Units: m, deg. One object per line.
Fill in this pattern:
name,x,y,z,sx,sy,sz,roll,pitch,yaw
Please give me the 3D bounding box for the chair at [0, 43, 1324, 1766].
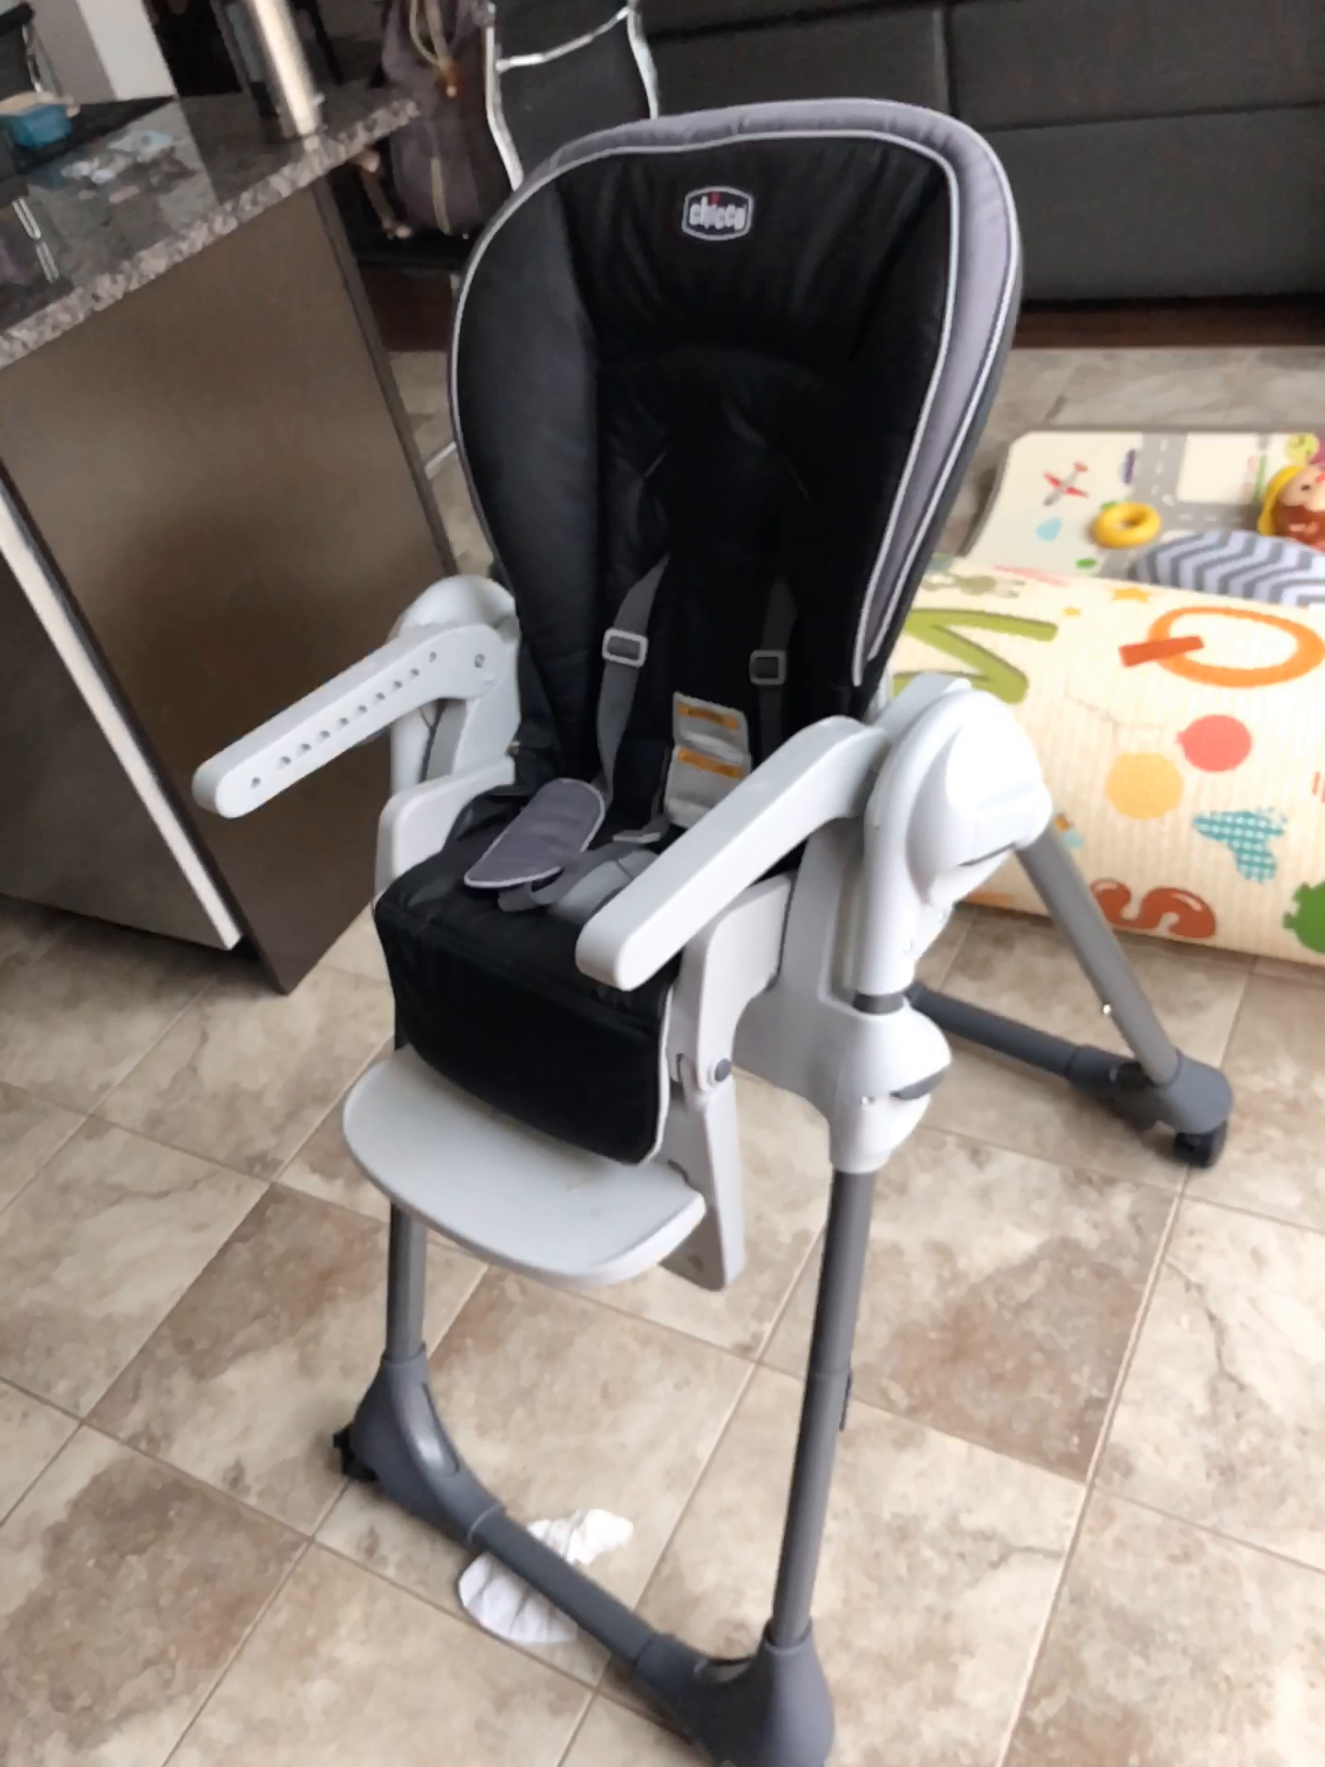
chair,0.018,0.027,1.185,0.652,0.996,0.881,20,51,36
